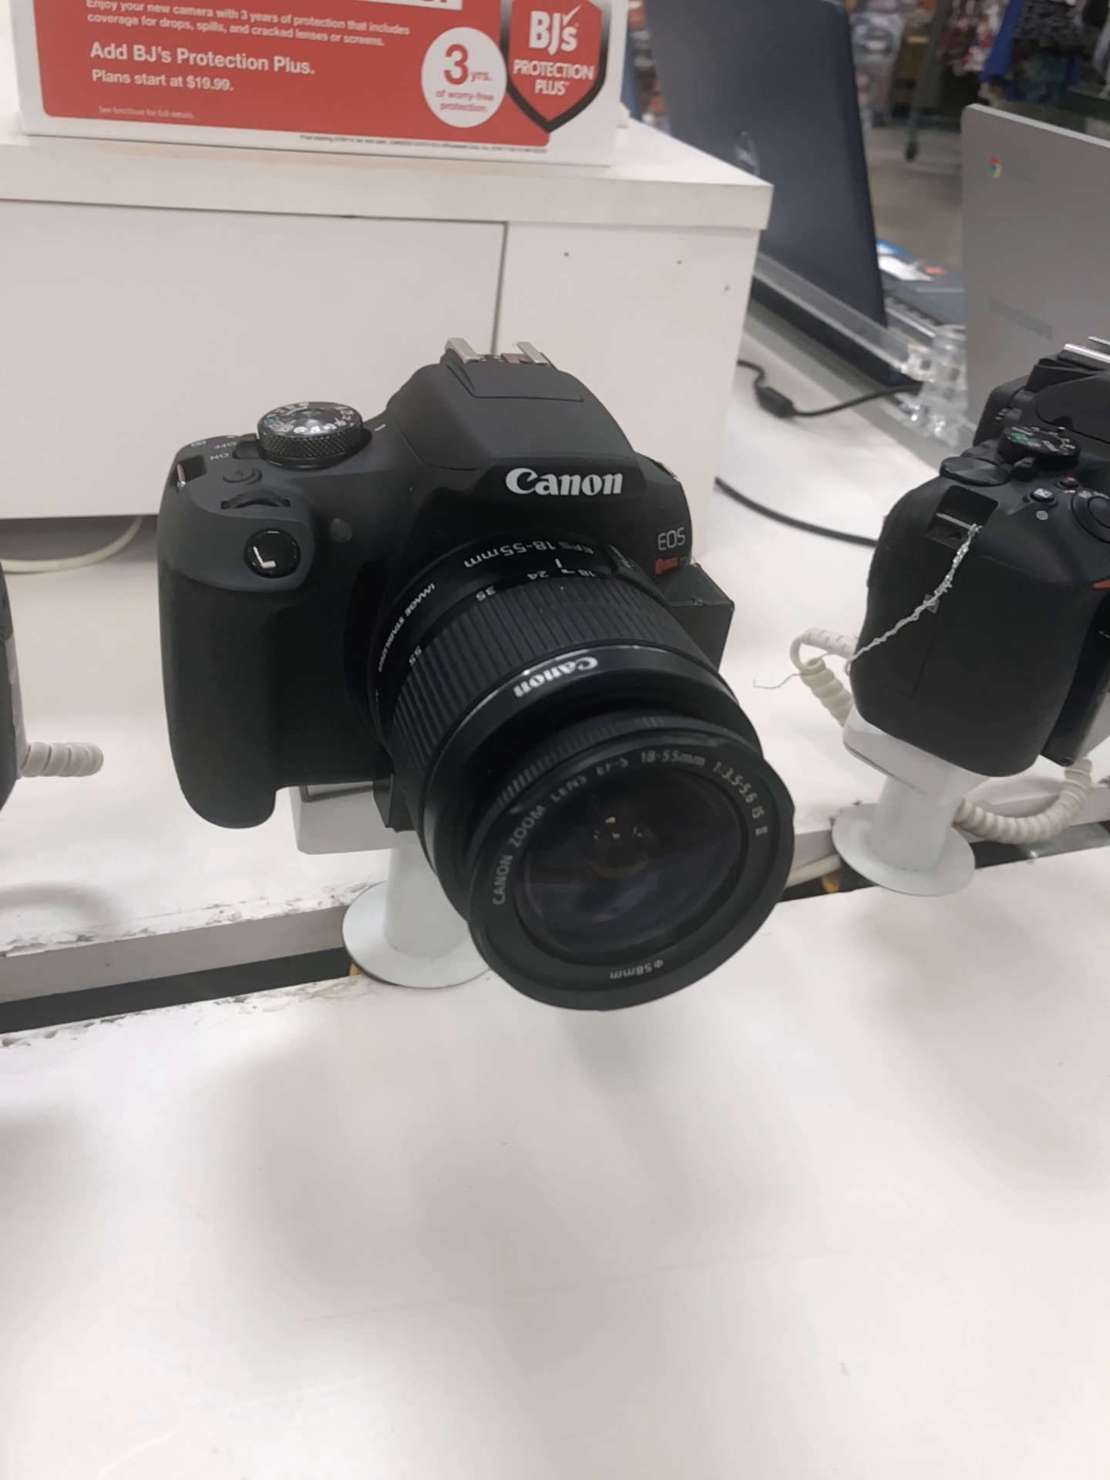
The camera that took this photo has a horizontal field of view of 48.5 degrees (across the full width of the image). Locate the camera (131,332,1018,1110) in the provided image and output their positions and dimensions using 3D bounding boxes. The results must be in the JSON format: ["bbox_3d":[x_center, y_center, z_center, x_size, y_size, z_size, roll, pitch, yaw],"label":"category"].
[{"bbox_3d":[-0.011,-0.019,0.260,0.130,0.092,0.132,-7,37,-21],"label":"camera"}]
